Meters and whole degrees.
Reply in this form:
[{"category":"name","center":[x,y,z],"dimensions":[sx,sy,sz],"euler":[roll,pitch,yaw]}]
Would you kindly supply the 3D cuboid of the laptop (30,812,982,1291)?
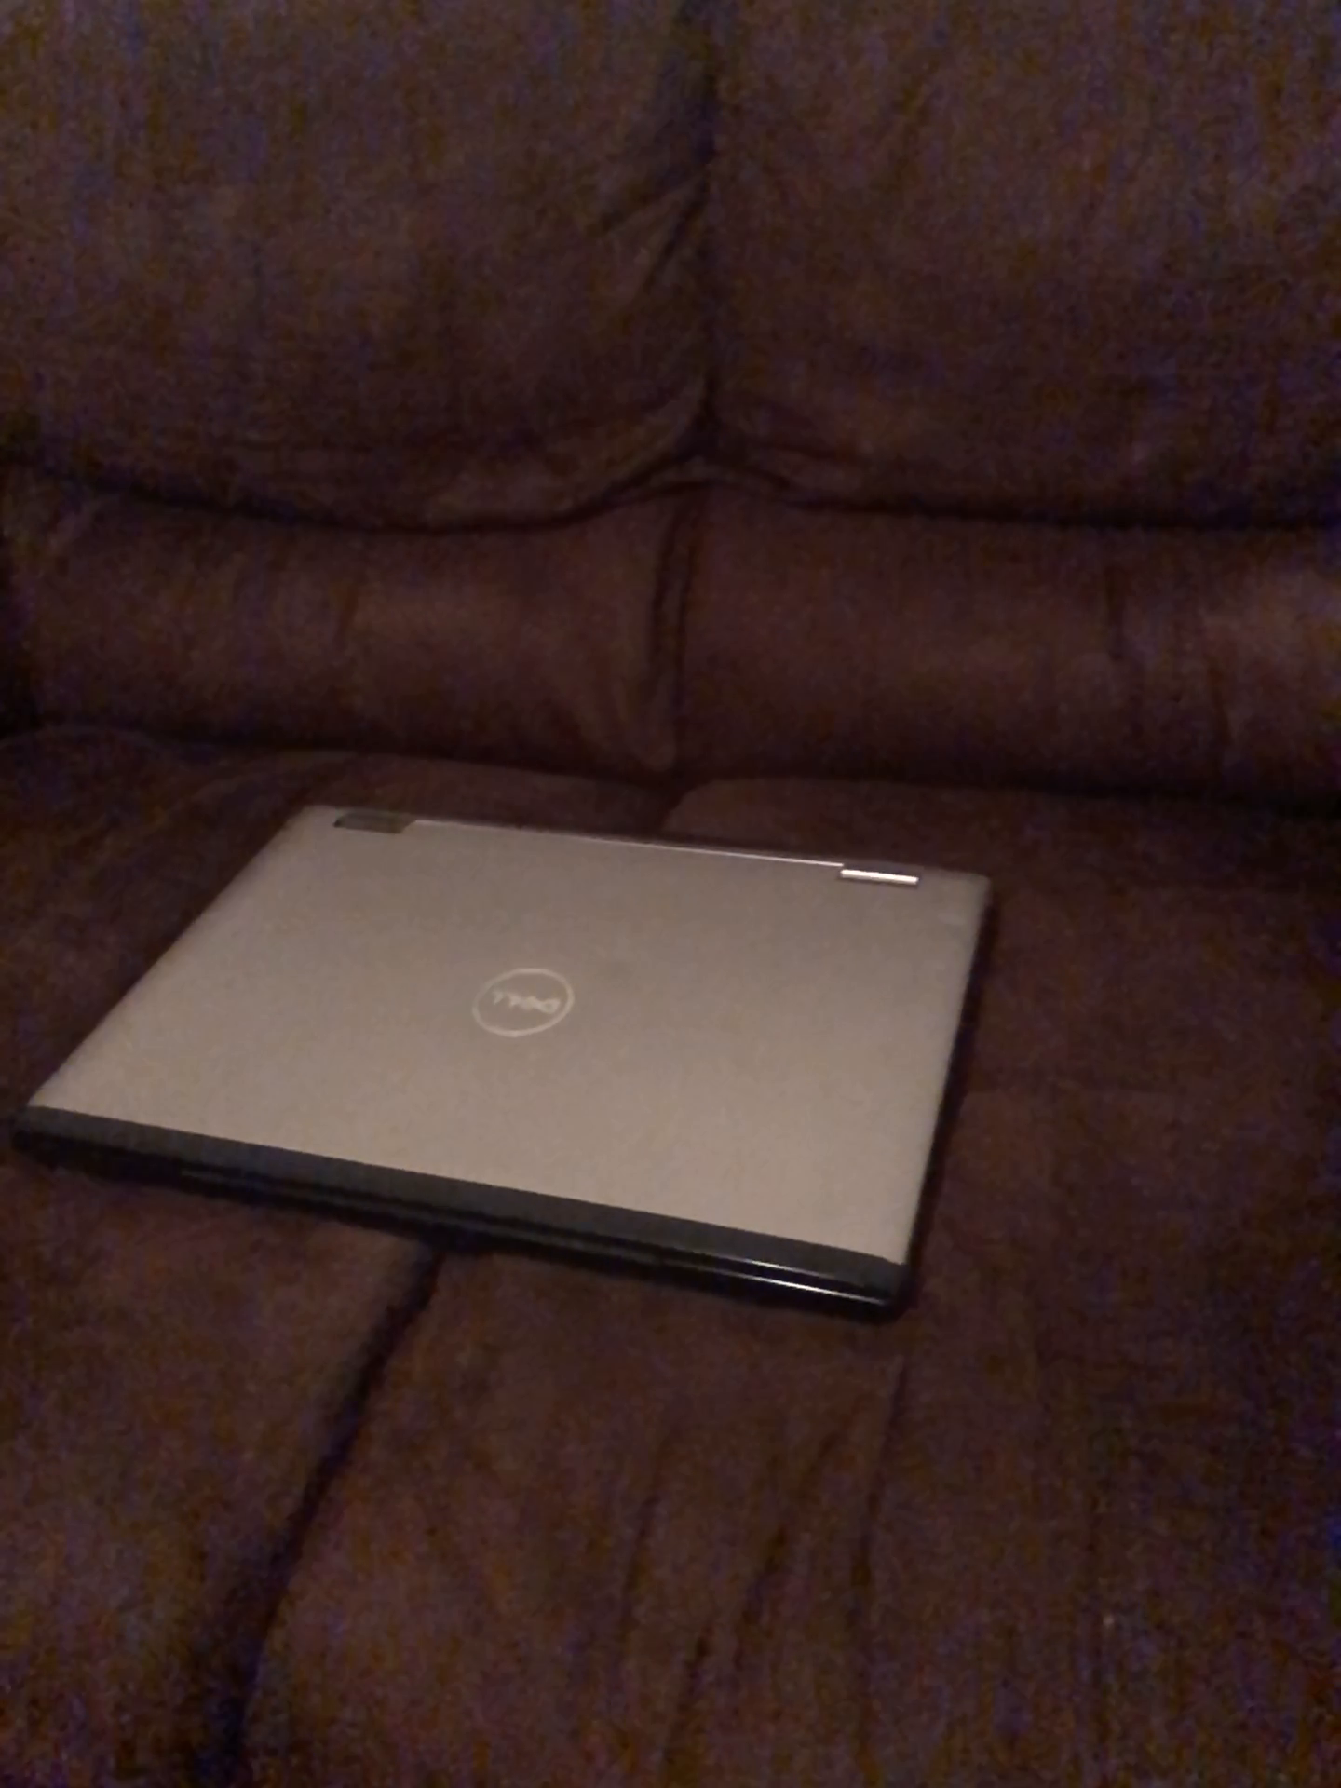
[{"category":"laptop","center":[-0.059,0.048,0.679],"dimensions":[0.370,0.002,0.261],"euler":[6,36,15]}]
